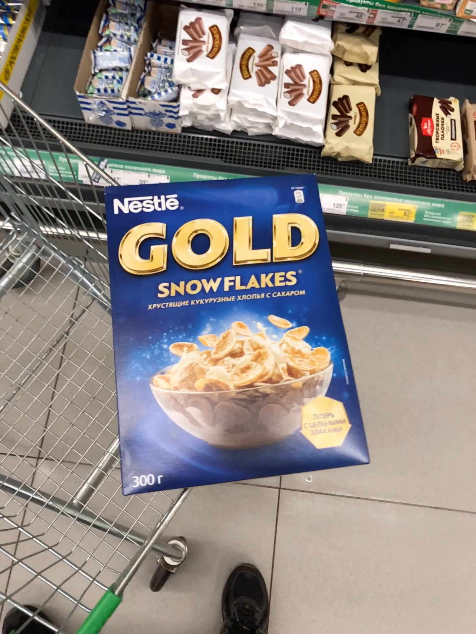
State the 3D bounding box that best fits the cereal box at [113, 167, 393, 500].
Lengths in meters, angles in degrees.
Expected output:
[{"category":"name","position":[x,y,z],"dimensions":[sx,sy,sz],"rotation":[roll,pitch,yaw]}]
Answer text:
[{"category":"cereal box","position":[0.002,0.003,0.452],"dimensions":[0.200,0.050,0.270],"rotation":[-4,72,-9]}]
